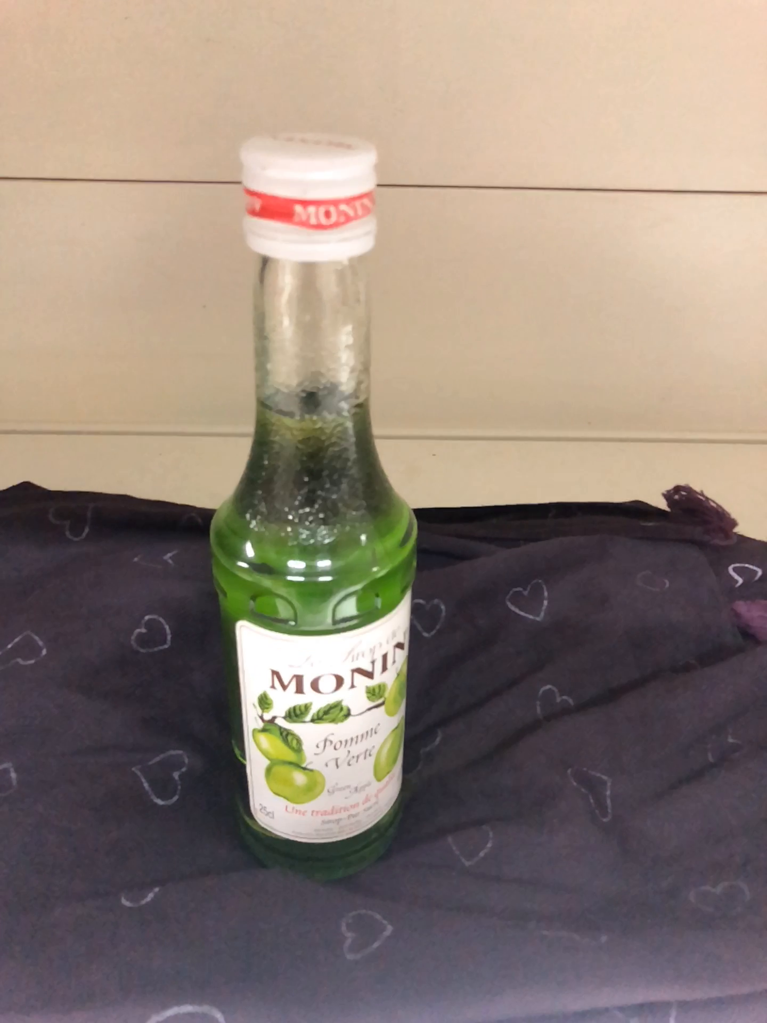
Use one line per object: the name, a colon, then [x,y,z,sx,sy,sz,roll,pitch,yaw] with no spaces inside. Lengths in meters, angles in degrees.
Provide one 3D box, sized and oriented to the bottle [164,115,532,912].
bottle: [-0.013,0.009,0.224,0.060,0.199,0.060,1,31,-1]
